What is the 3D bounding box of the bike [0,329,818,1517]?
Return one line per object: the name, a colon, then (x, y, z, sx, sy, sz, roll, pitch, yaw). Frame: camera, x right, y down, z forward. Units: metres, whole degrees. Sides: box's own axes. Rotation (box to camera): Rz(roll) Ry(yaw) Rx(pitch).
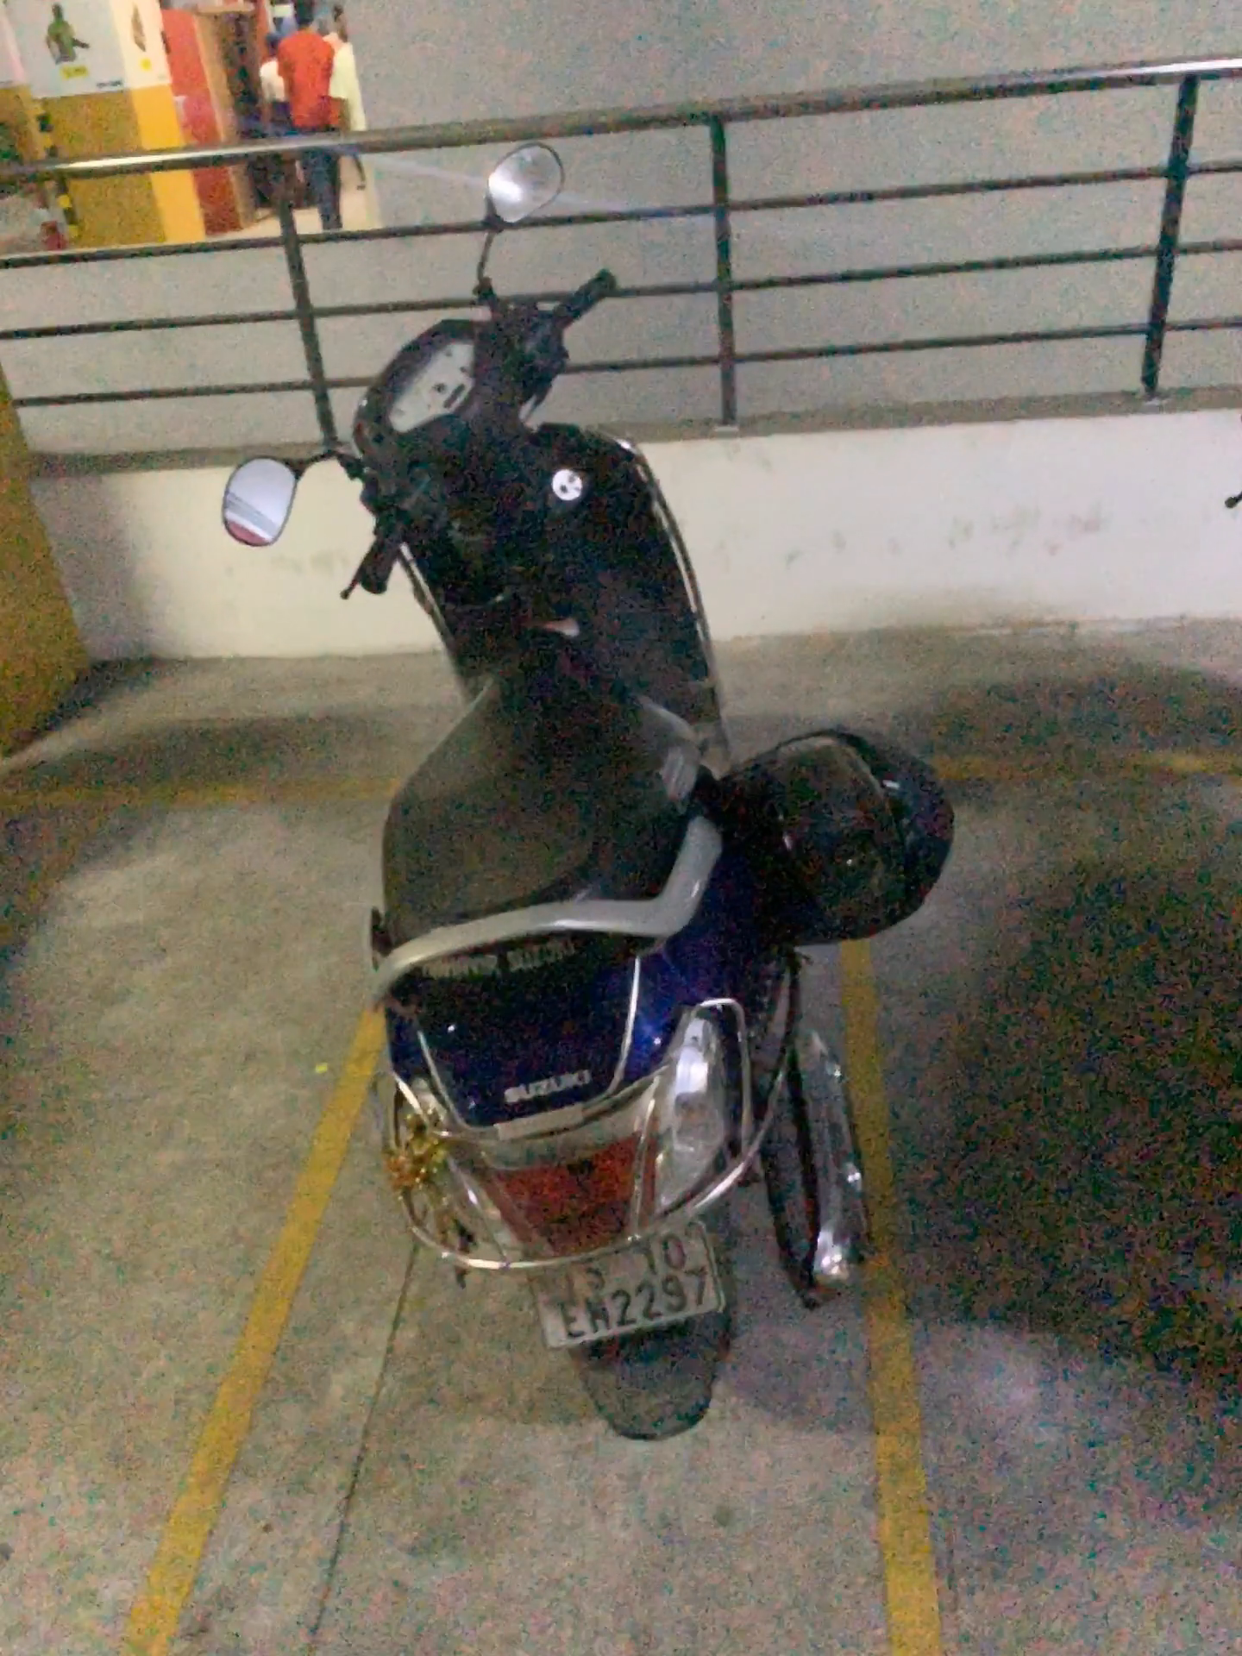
bike: (-0.206, -0.024, 1.910, 0.622, 1.157, 1.482, -8, 29, -3)
